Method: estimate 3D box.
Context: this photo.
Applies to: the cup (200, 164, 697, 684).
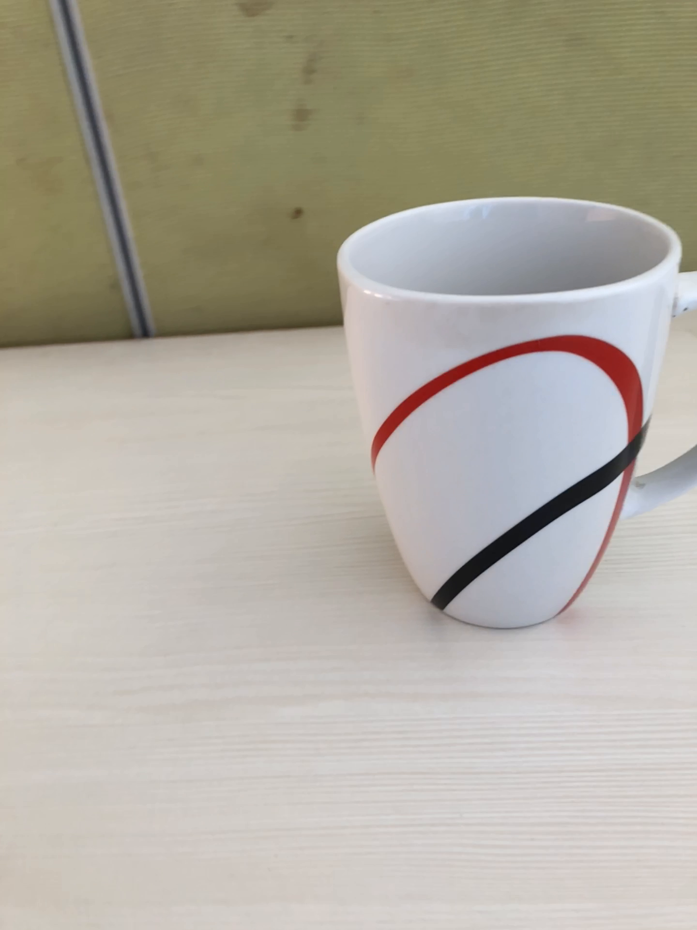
[{"bbox_3d":[0.051,-0.017,0.212,0.140,0.099,0.091,2,31,14],"label":"cup"}]
